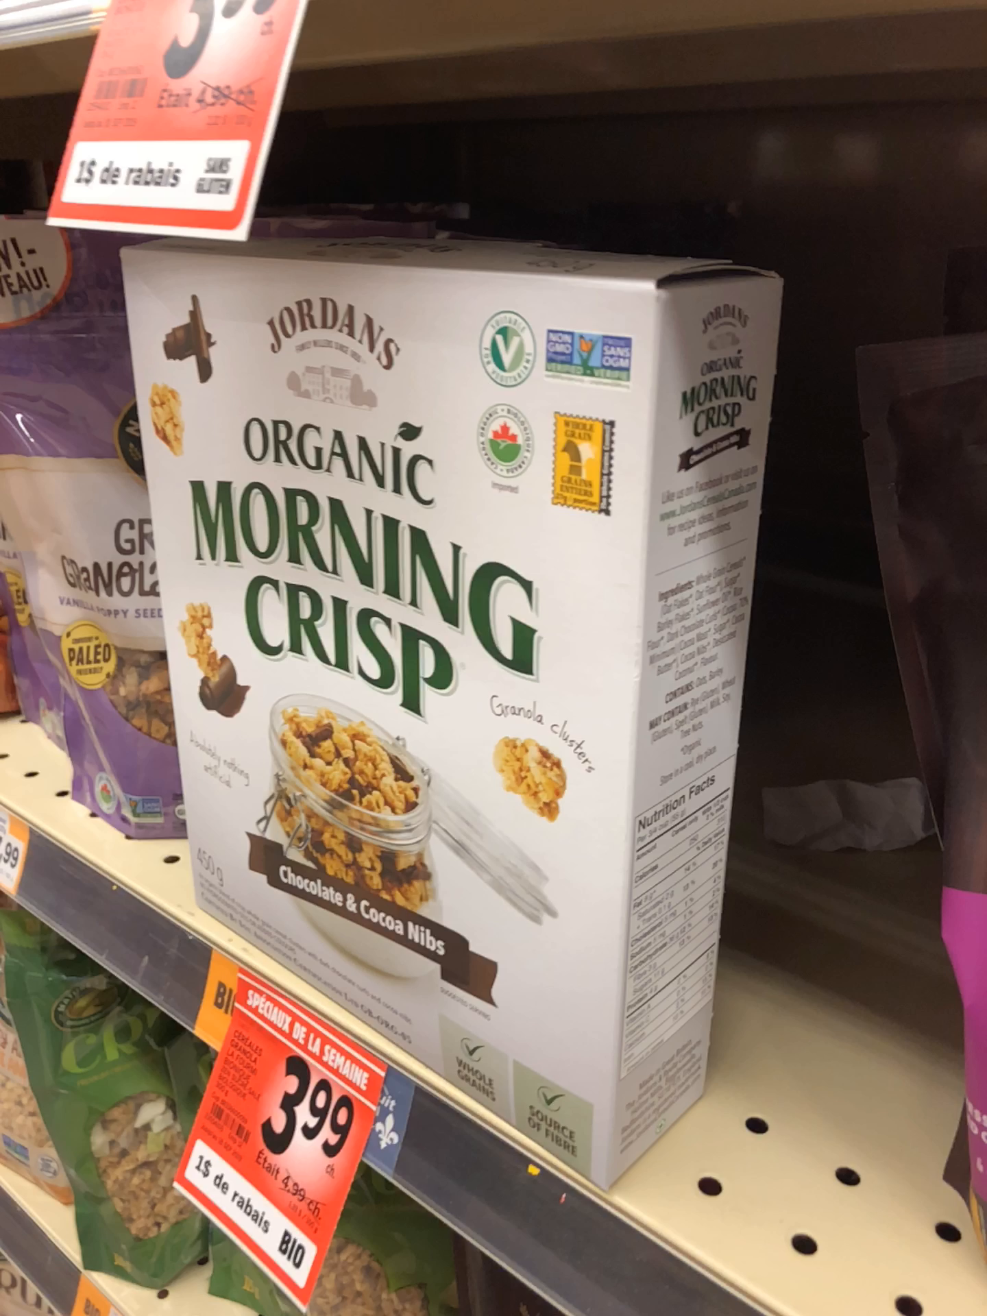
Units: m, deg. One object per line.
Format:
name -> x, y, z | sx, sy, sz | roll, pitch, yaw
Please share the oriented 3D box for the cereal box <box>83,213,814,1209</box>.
cereal box -> -0.023, -0.001, 0.285 | 0.181, 0.209, 0.050 | 20, 29, 38
